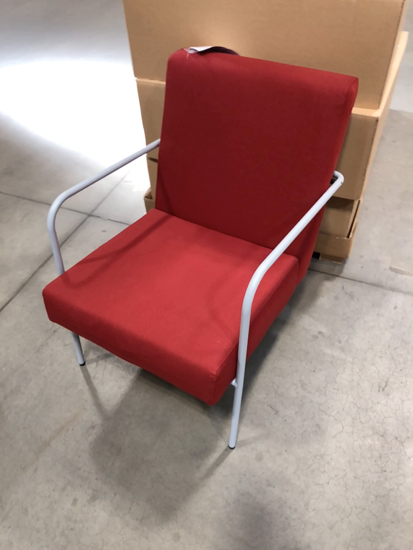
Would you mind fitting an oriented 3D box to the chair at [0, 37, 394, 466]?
[{"bbox_3d":[0.005,-0.103,1.255,0.631,0.707,0.762,21,52,23],"label":"chair"}]
